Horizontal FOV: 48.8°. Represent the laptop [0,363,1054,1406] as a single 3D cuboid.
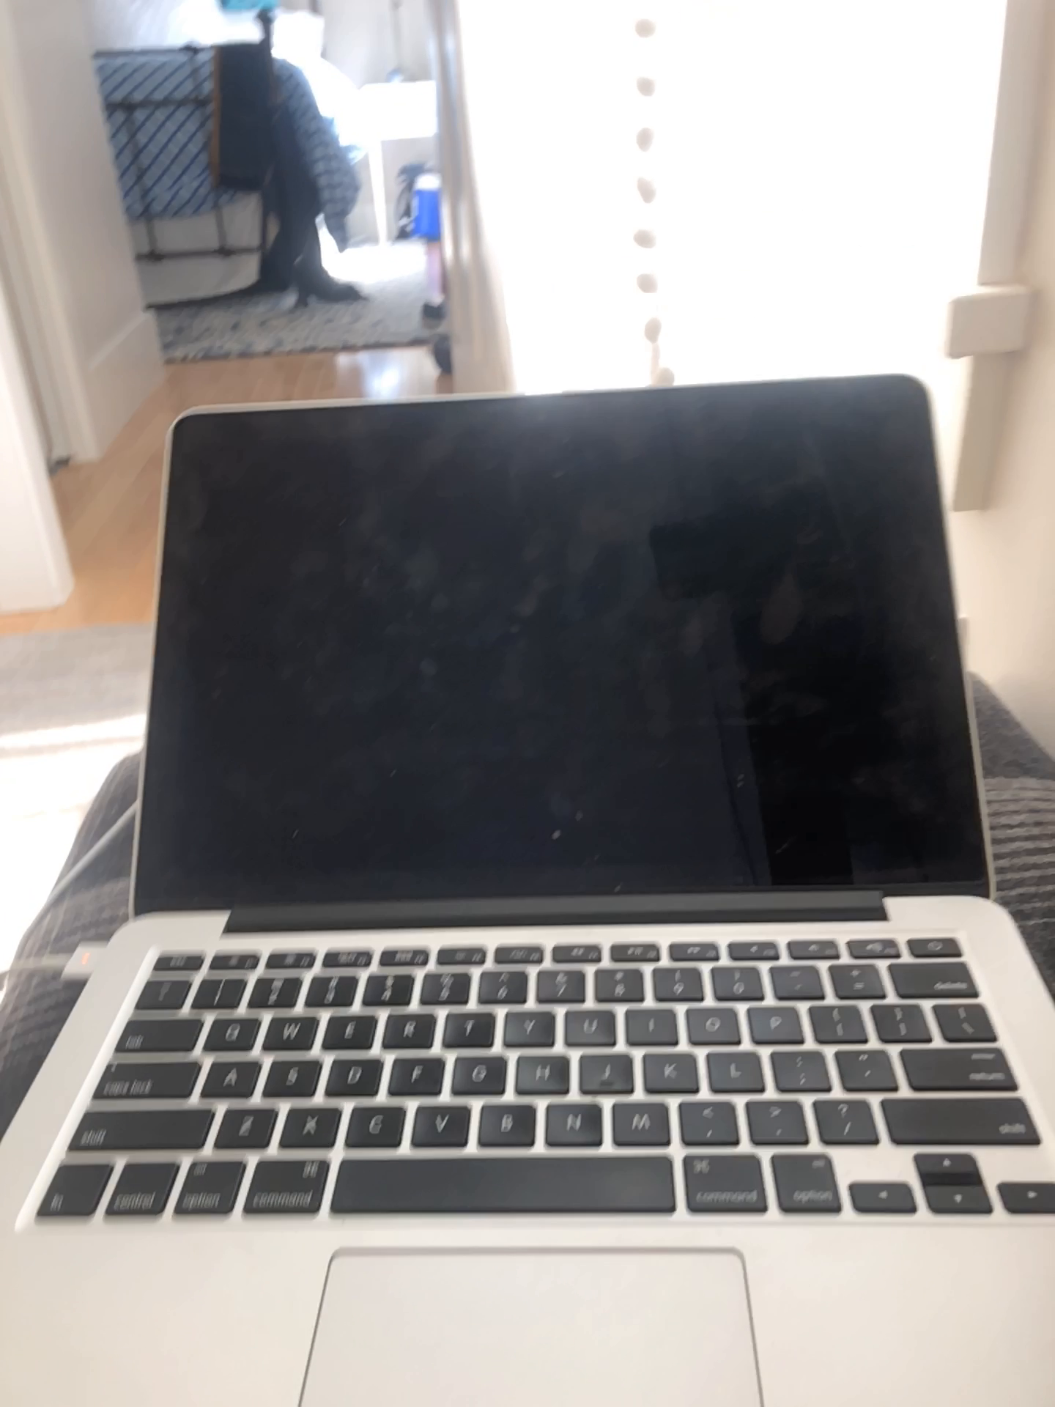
[{"bbox_3d":[0.003,0.022,0.352,0.306,0.142,0.368,-2,29,4],"label":"laptop"}]
